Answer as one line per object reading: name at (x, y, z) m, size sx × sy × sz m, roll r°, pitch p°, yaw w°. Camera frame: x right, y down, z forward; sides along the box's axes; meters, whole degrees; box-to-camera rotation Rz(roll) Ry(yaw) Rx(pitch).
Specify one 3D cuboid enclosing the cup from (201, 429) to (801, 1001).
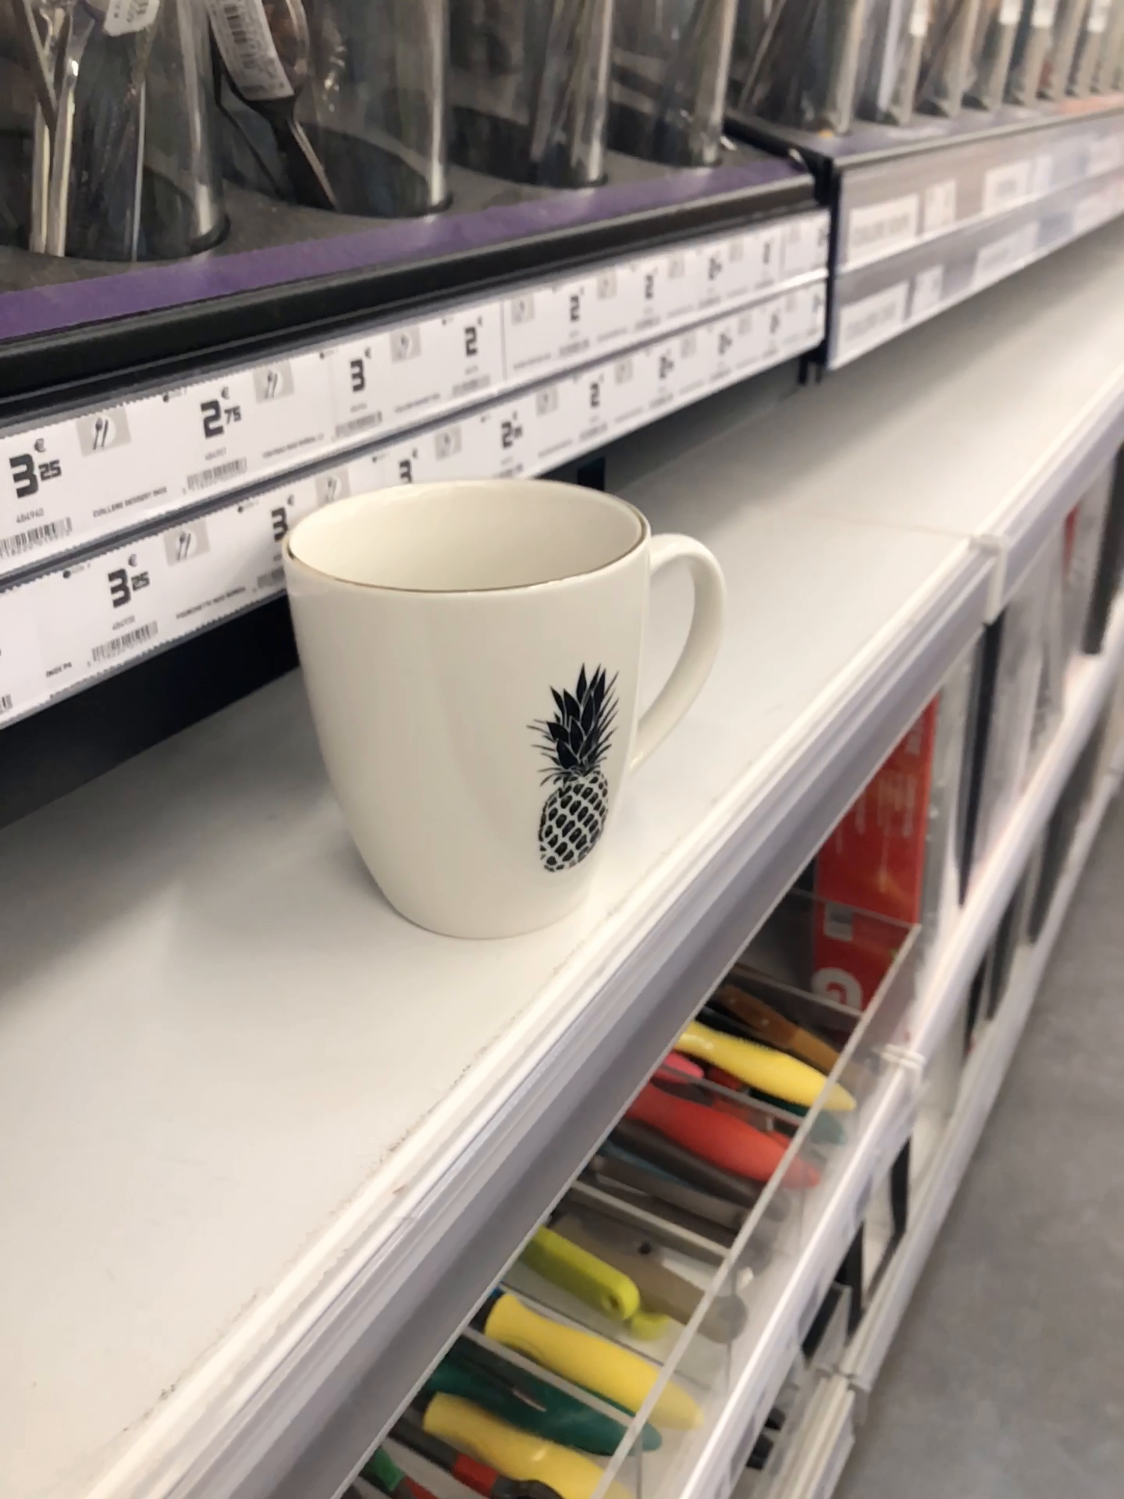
cup at (-0.015, -0.016, 0.315) m, size 0.115 × 0.093 × 0.082 m, roll -17°, pitch 34°, yaw -27°
